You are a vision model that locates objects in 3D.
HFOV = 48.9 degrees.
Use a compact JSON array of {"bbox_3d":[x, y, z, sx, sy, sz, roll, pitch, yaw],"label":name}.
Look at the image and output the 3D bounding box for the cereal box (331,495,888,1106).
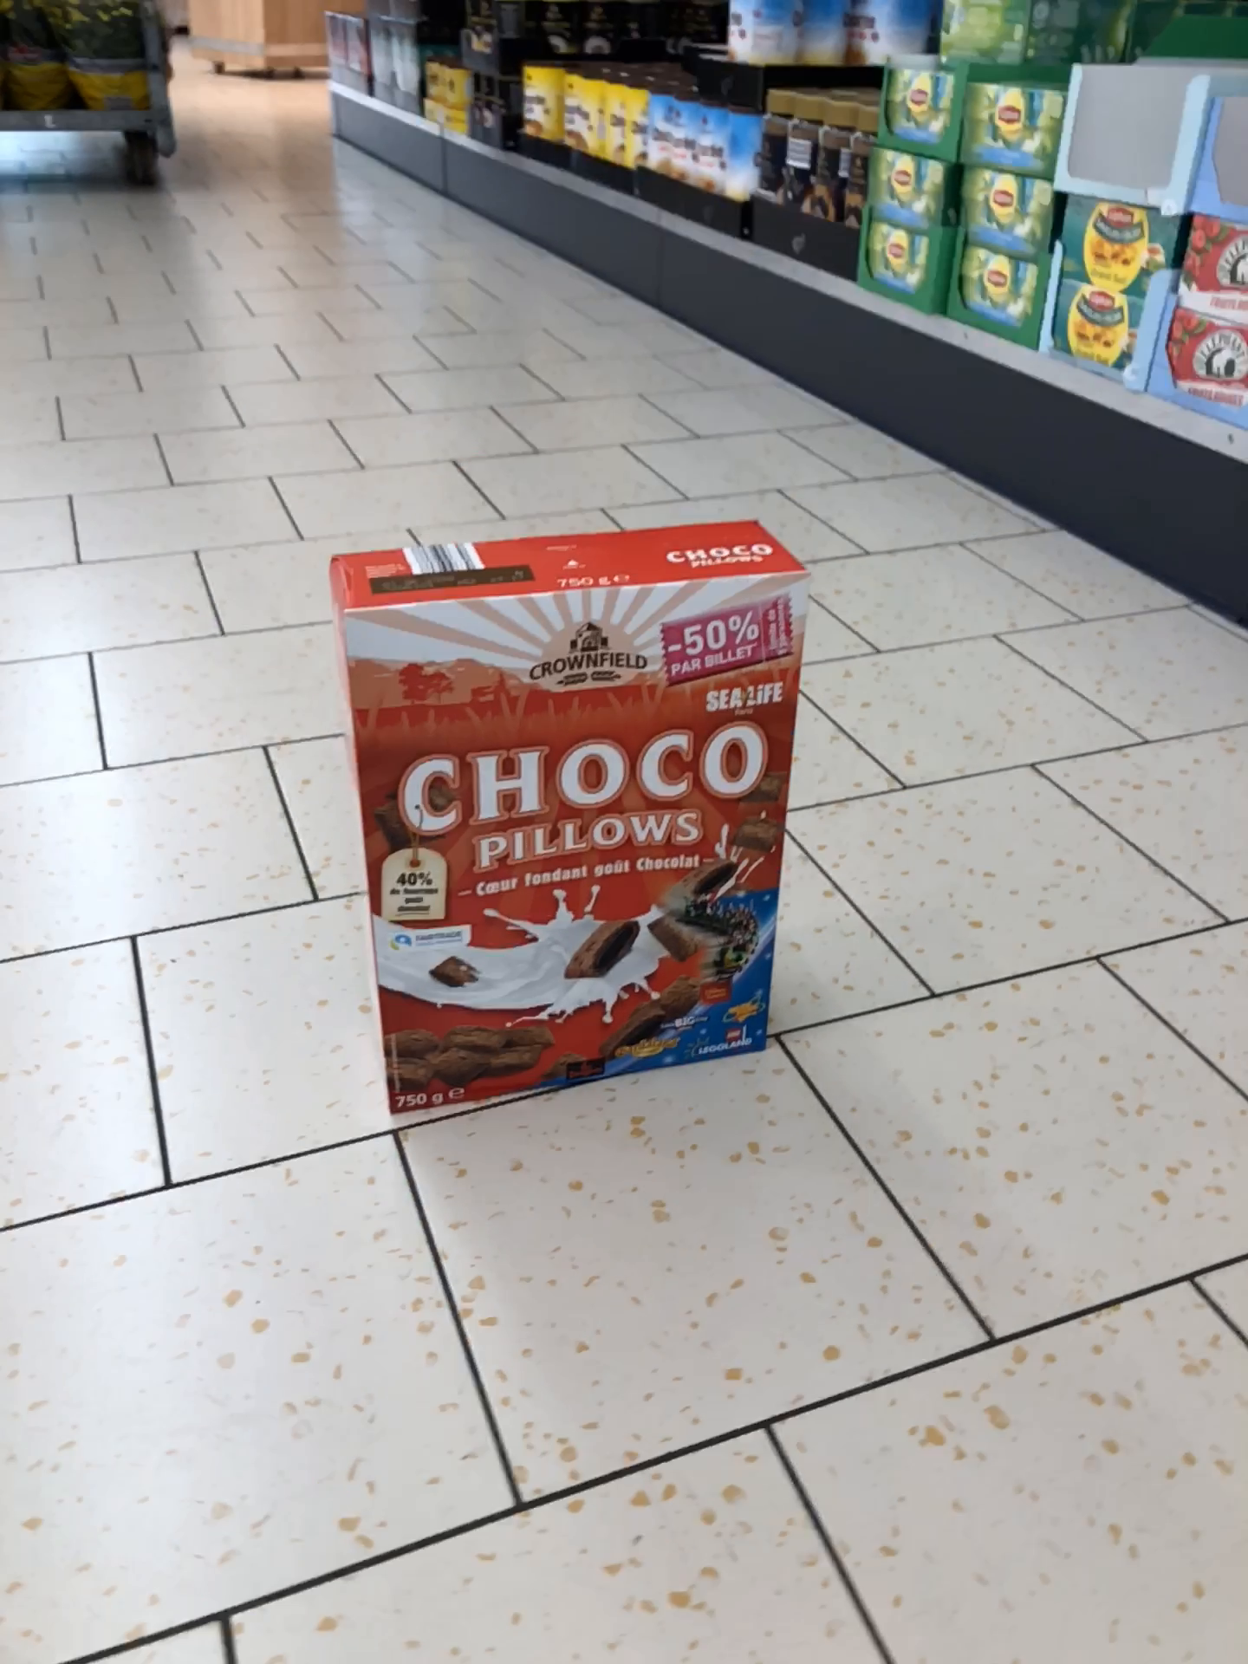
[{"bbox_3d":[-0.011,-0.014,0.618,0.210,0.239,0.090,-7,32,-13],"label":"cereal box"}]
